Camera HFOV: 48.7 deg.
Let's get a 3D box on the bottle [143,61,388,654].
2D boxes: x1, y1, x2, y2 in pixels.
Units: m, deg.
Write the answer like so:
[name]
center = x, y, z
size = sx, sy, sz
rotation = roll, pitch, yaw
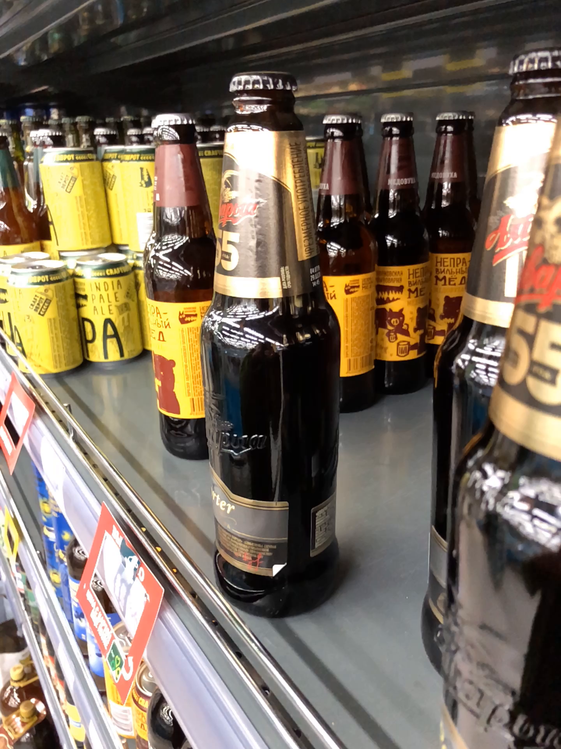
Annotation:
[bottle]
center = -0.007, -0.005, 0.310
size = 0.080, 0.264, 0.080
rotation = -1, 21, 1
